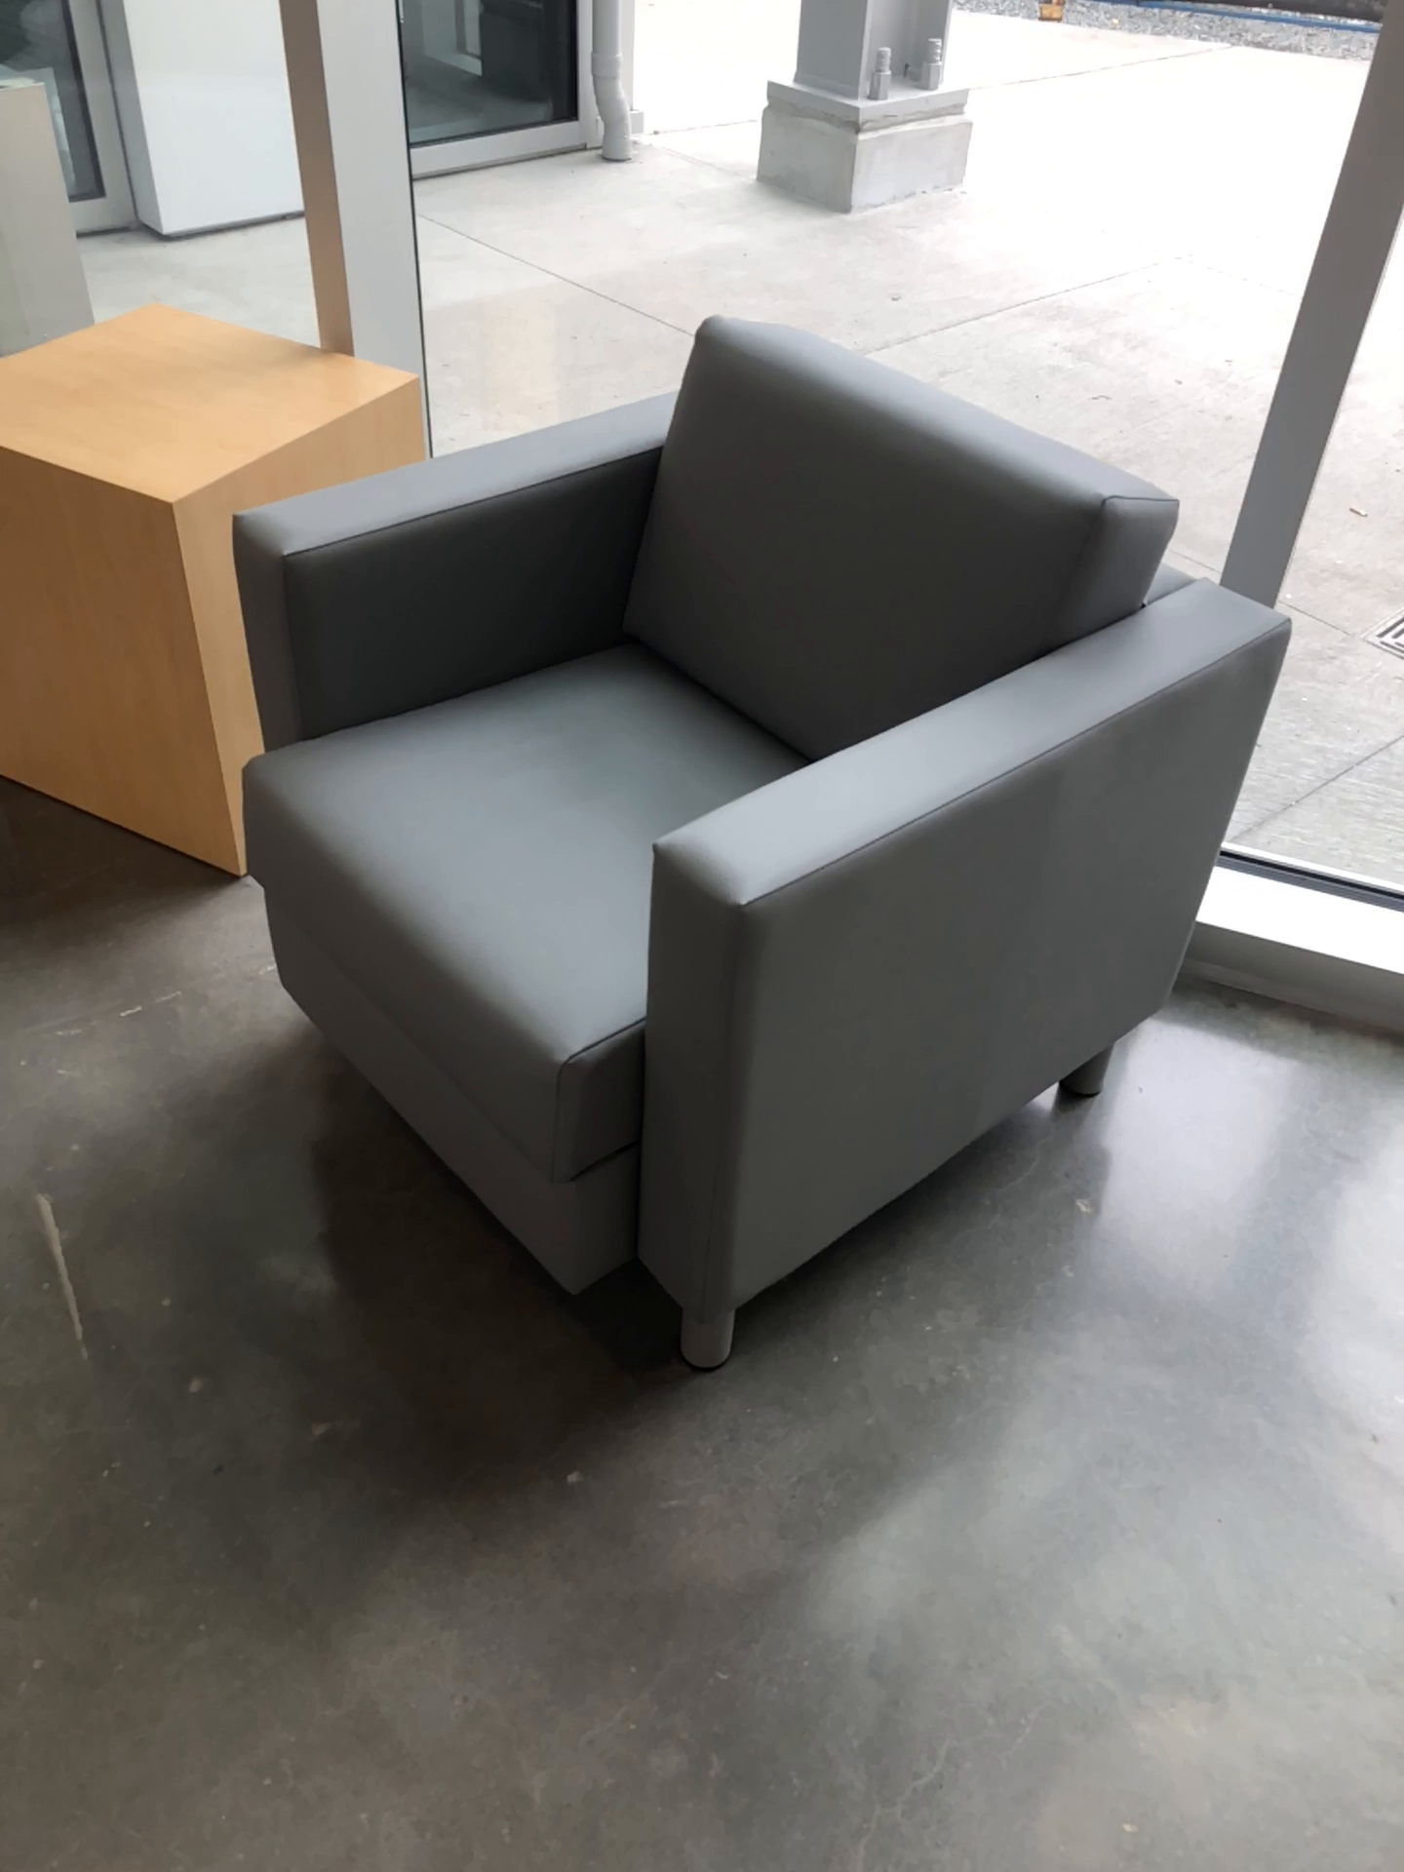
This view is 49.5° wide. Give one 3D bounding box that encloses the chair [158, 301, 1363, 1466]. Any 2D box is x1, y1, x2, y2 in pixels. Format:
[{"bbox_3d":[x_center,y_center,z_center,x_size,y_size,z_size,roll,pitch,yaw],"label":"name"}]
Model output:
[{"bbox_3d":[0.033,-0.128,1.608,0.782,0.695,0.773,-28,50,-31],"label":"chair"}]
